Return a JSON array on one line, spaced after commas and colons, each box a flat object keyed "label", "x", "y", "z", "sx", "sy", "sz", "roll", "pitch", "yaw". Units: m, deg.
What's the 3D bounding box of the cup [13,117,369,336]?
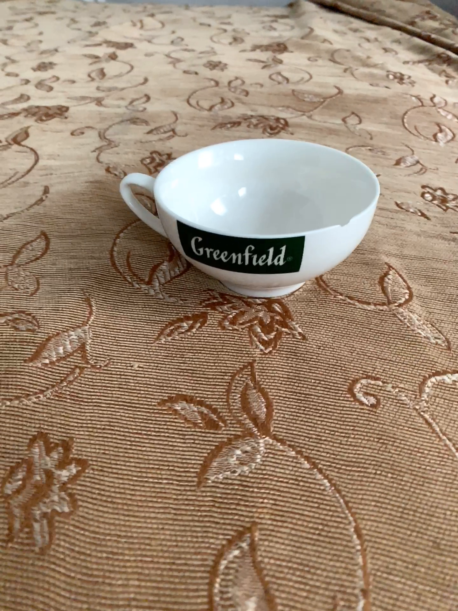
[{"label": "cup", "x": -0.007, "y": -0.049, "z": 0.237, "sx": 0.140, "sy": 0.040, "sz": 0.111, "roll": 10, "pitch": 40, "yaw": 10}]
